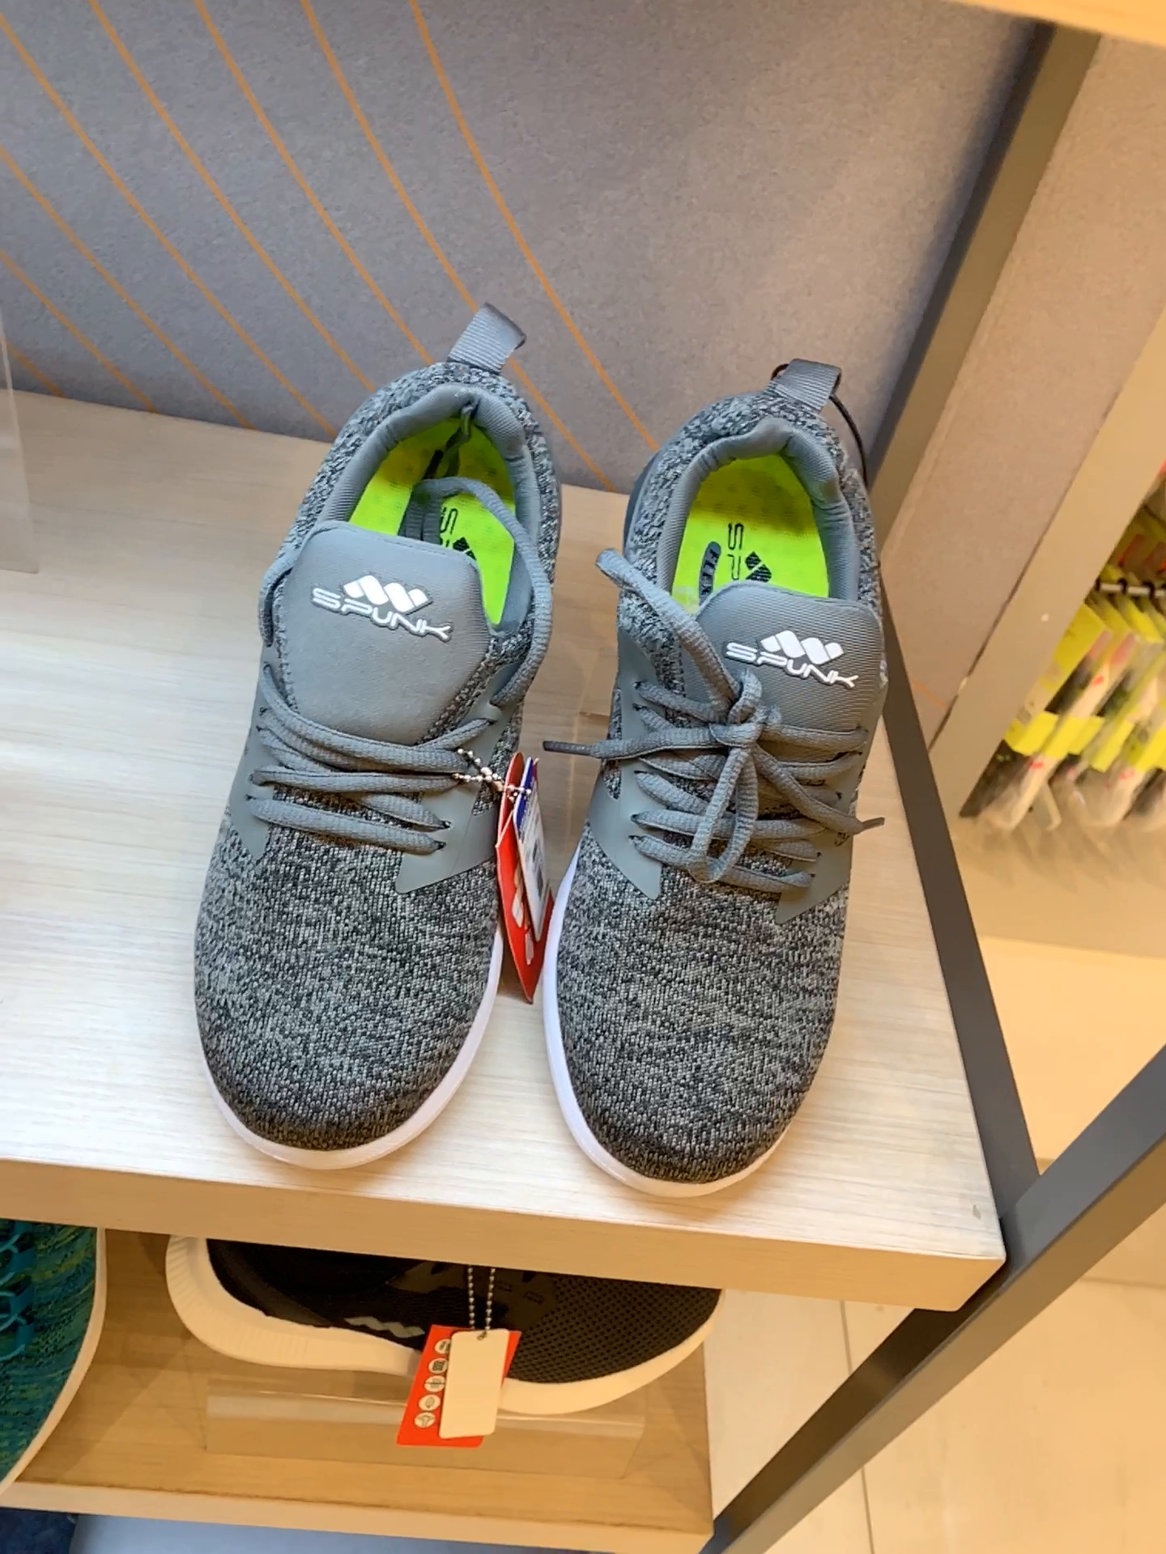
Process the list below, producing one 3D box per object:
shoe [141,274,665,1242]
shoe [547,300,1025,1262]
[{"bbox_3d":[-0.043,-0.007,0.345,0.080,0.080,0.241,12,77,-2],"label":"shoe"},{"bbox_3d":[0.056,0.001,0.352,0.090,0.080,0.241,10,81,-7],"label":"shoe"}]
